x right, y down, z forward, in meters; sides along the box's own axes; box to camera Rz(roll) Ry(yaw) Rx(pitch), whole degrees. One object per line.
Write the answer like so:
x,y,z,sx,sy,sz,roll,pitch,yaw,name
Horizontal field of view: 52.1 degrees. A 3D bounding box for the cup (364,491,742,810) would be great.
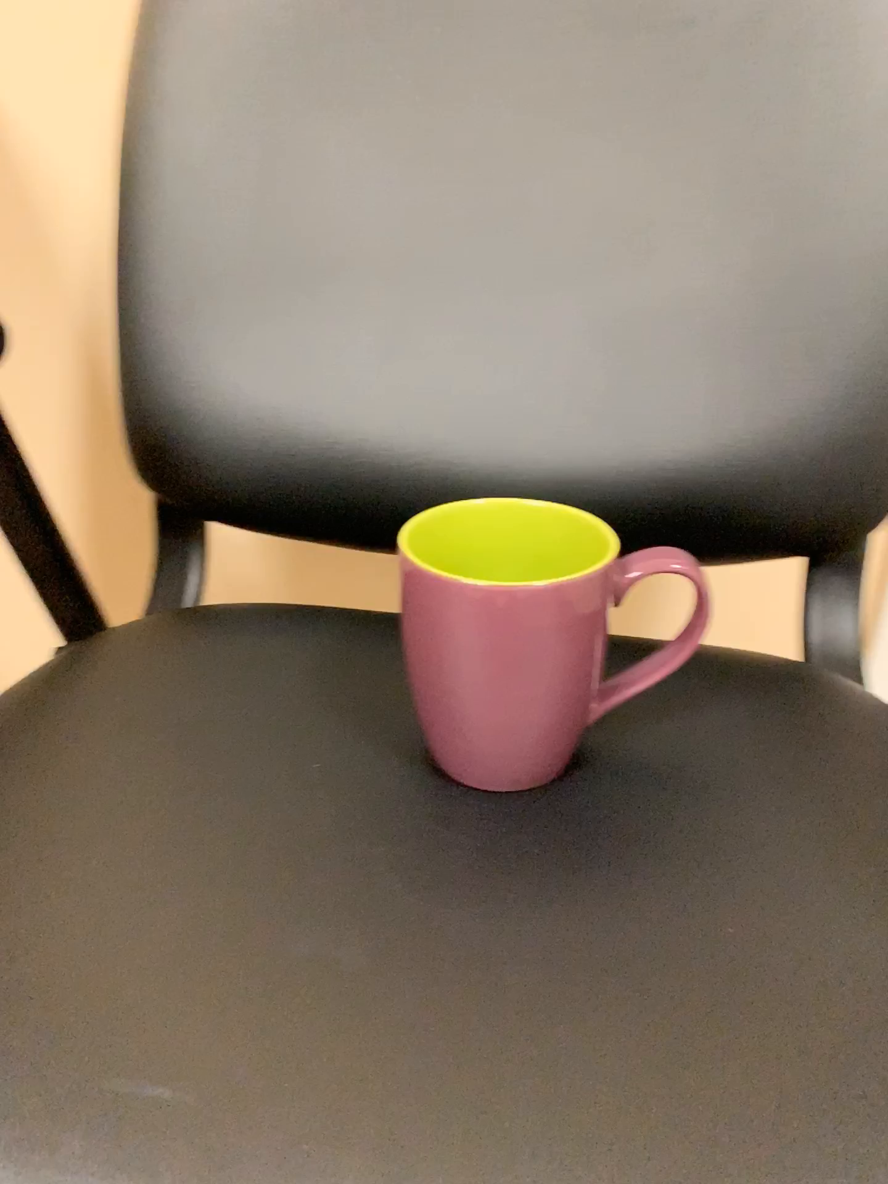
0.040,0.024,0.408,0.143,0.109,0.090,-1,28,-2,cup
